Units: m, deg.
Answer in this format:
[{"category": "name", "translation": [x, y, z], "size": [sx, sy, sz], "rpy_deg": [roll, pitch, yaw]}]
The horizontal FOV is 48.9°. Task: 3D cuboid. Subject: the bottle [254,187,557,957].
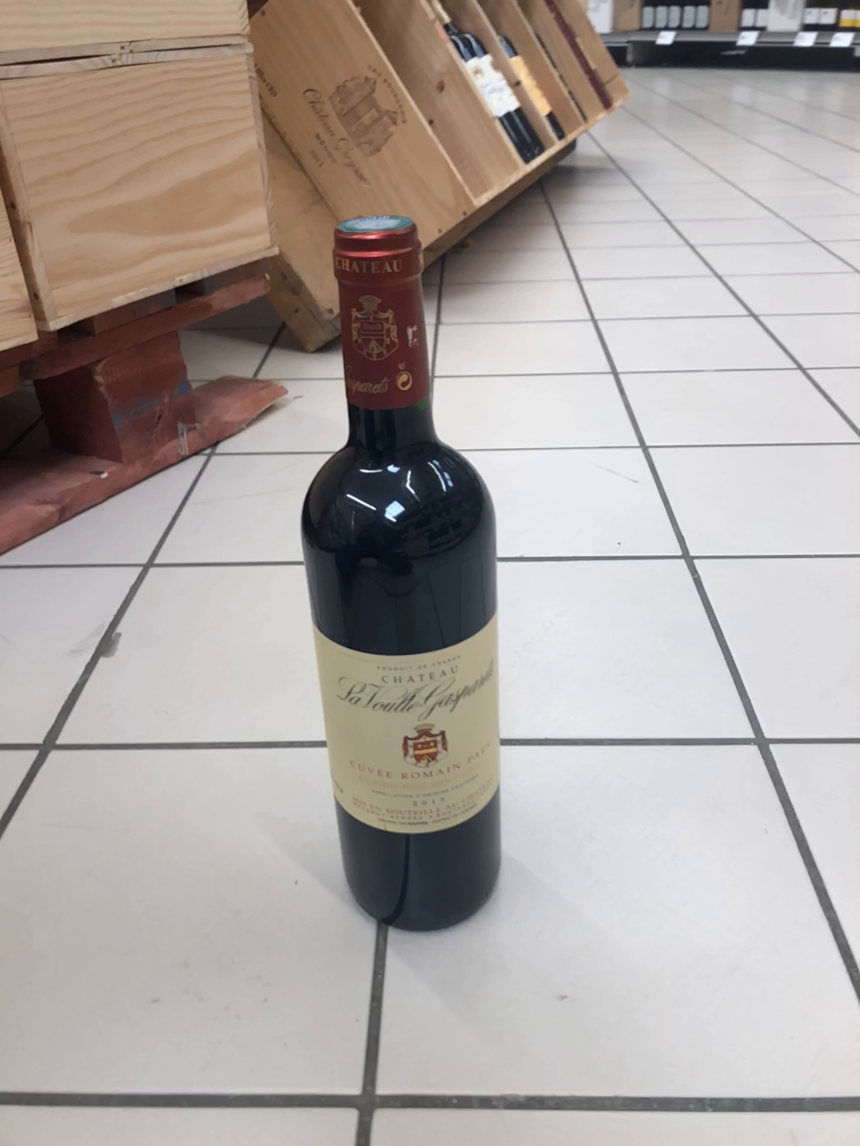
[{"category": "bottle", "translation": [-0.008, 0.011, 0.374], "size": [0.080, 0.288, 0.090], "rpy_deg": [-8, 31, -10]}]
